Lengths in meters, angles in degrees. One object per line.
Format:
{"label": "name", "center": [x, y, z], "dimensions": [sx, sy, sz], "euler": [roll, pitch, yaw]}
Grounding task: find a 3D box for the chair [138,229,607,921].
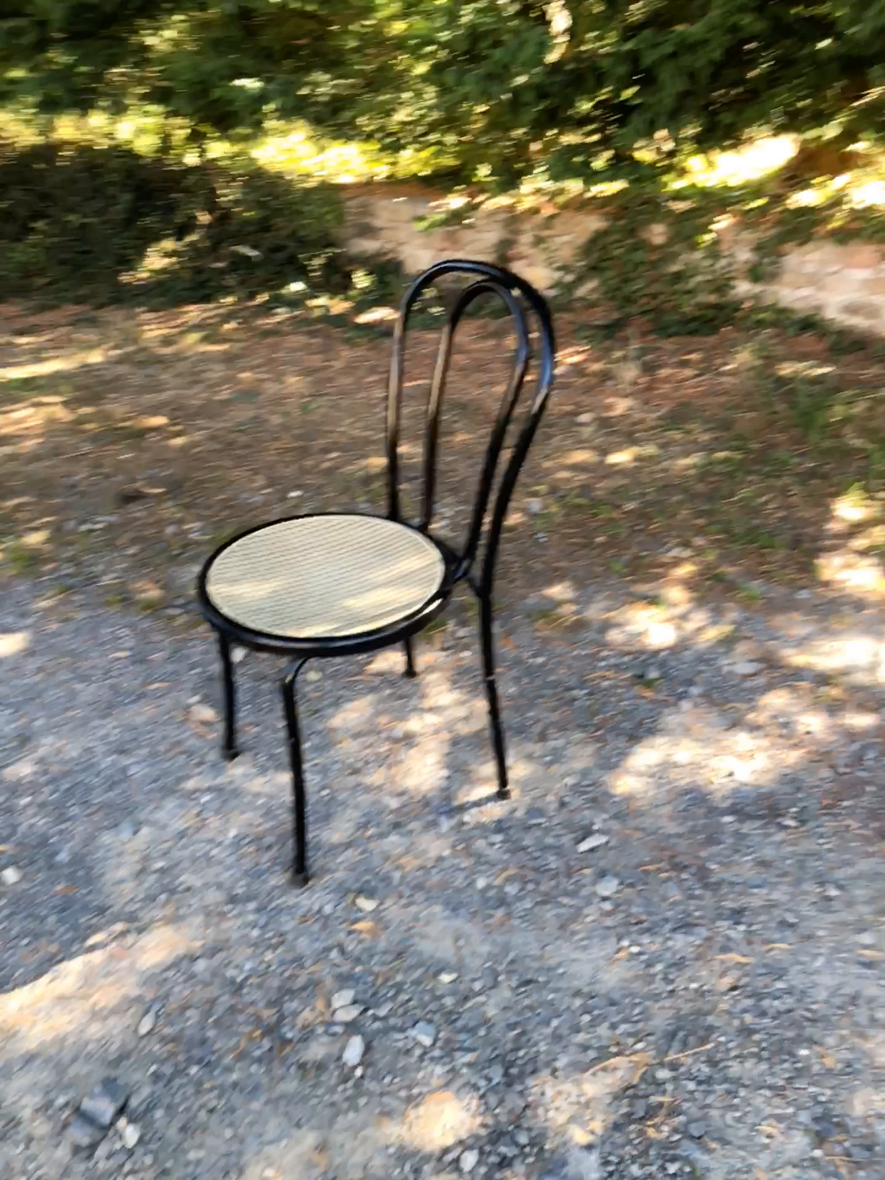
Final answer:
{"label": "chair", "center": [-0.114, -0.039, 1.483], "dimensions": [0.471, 0.875, 0.431], "euler": [-15, 34, -26]}
